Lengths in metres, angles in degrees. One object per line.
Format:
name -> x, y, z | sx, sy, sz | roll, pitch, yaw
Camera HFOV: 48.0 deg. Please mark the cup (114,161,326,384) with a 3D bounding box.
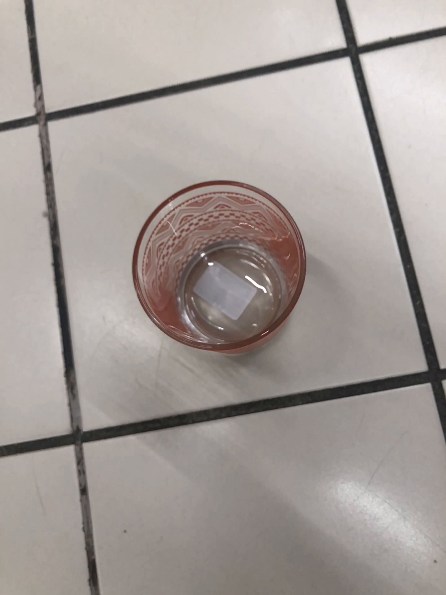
cup -> 0.001, -0.005, 0.248 | 0.078, 0.078, 0.083 | -1, 80, 6
